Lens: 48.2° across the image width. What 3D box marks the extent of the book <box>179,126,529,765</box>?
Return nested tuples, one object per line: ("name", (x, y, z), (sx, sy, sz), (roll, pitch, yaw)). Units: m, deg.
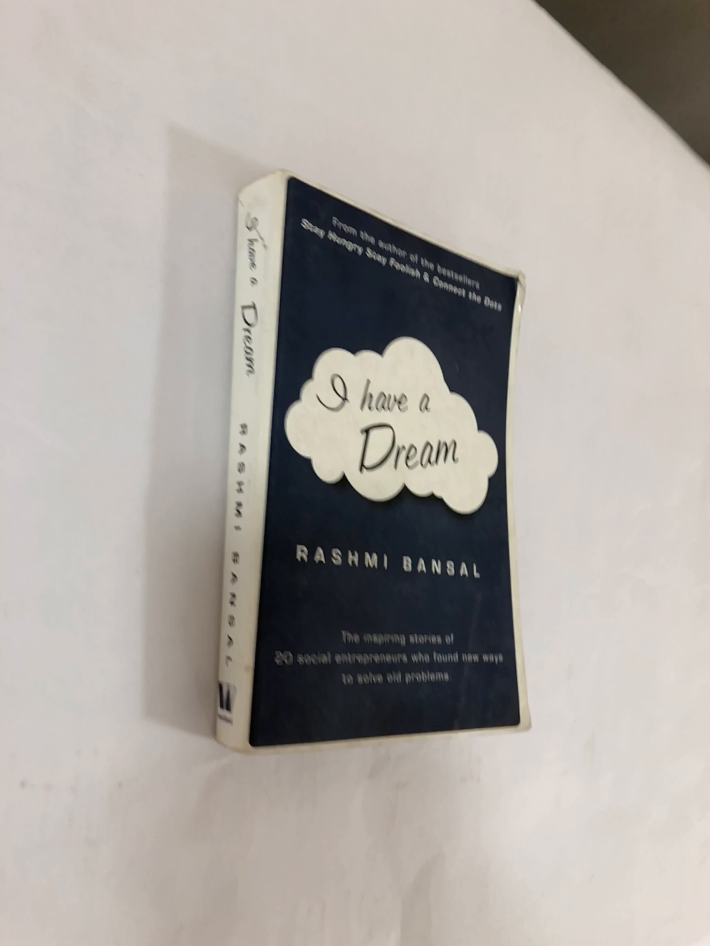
("book", (0.010, -0.004, 0.300), (0.141, 0.030, 0.200), (10, 77, -41))
